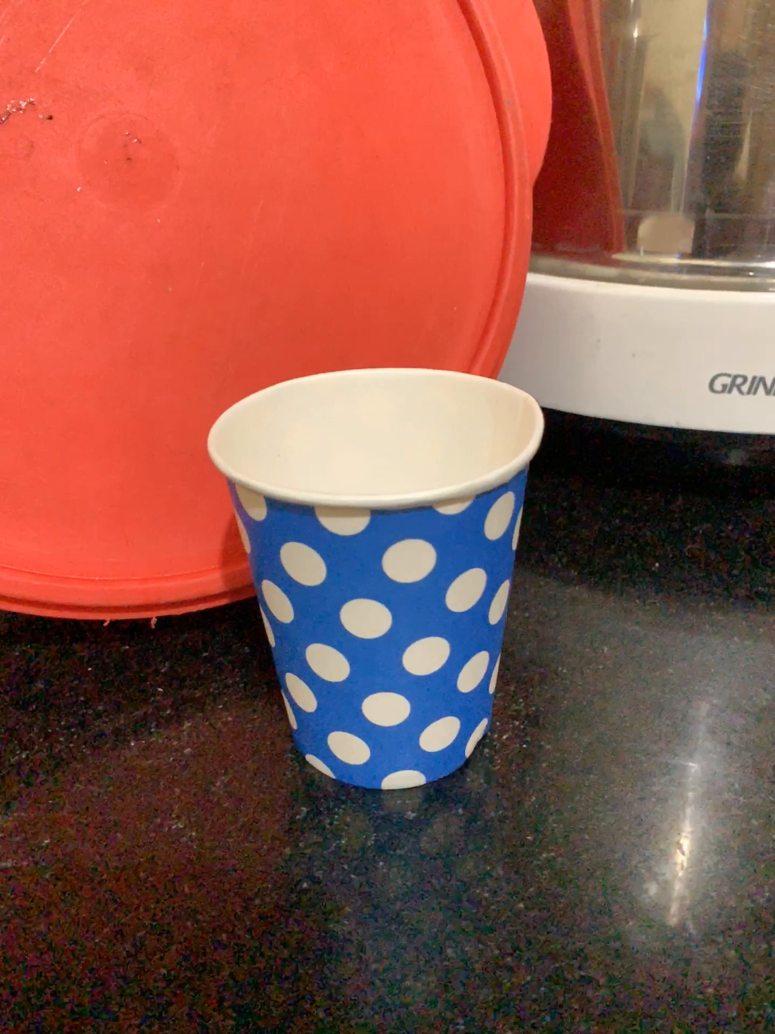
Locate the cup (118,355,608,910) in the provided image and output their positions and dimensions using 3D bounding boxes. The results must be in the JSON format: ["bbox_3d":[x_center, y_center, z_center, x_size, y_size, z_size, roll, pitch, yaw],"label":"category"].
[{"bbox_3d":[-0.004,0.017,0.182,0.070,0.079,0.070,-2,27,1],"label":"cup"}]
